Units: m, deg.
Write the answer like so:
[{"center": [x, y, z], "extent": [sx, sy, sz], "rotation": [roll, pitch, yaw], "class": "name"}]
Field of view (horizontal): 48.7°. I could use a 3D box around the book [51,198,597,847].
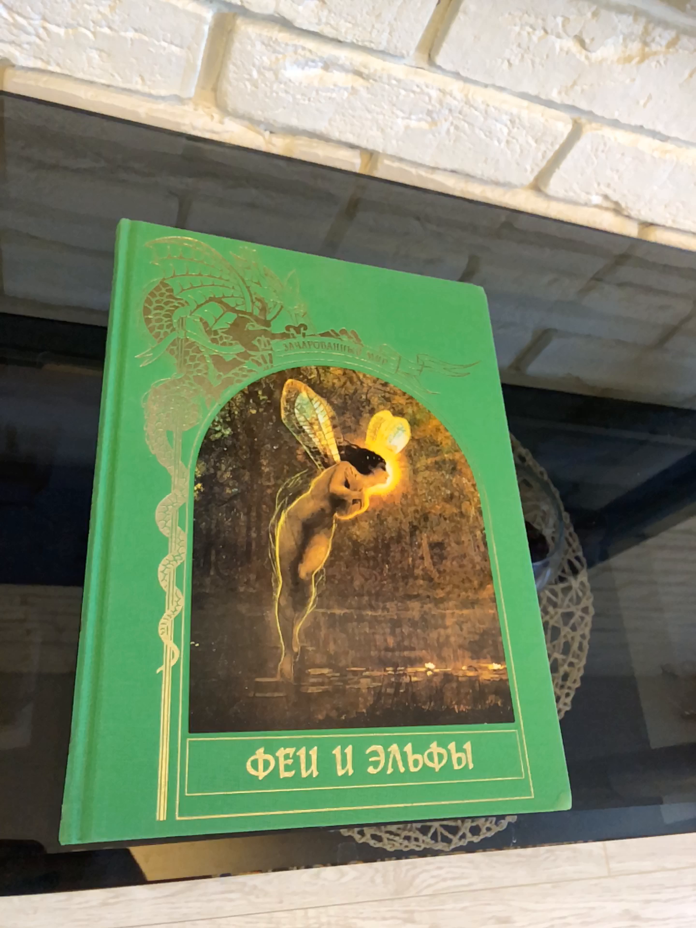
[{"center": [-0.010, 0.014, 0.368], "extent": [0.217, 0.030, 0.291], "rotation": [6, 62, -19], "class": "book"}]
